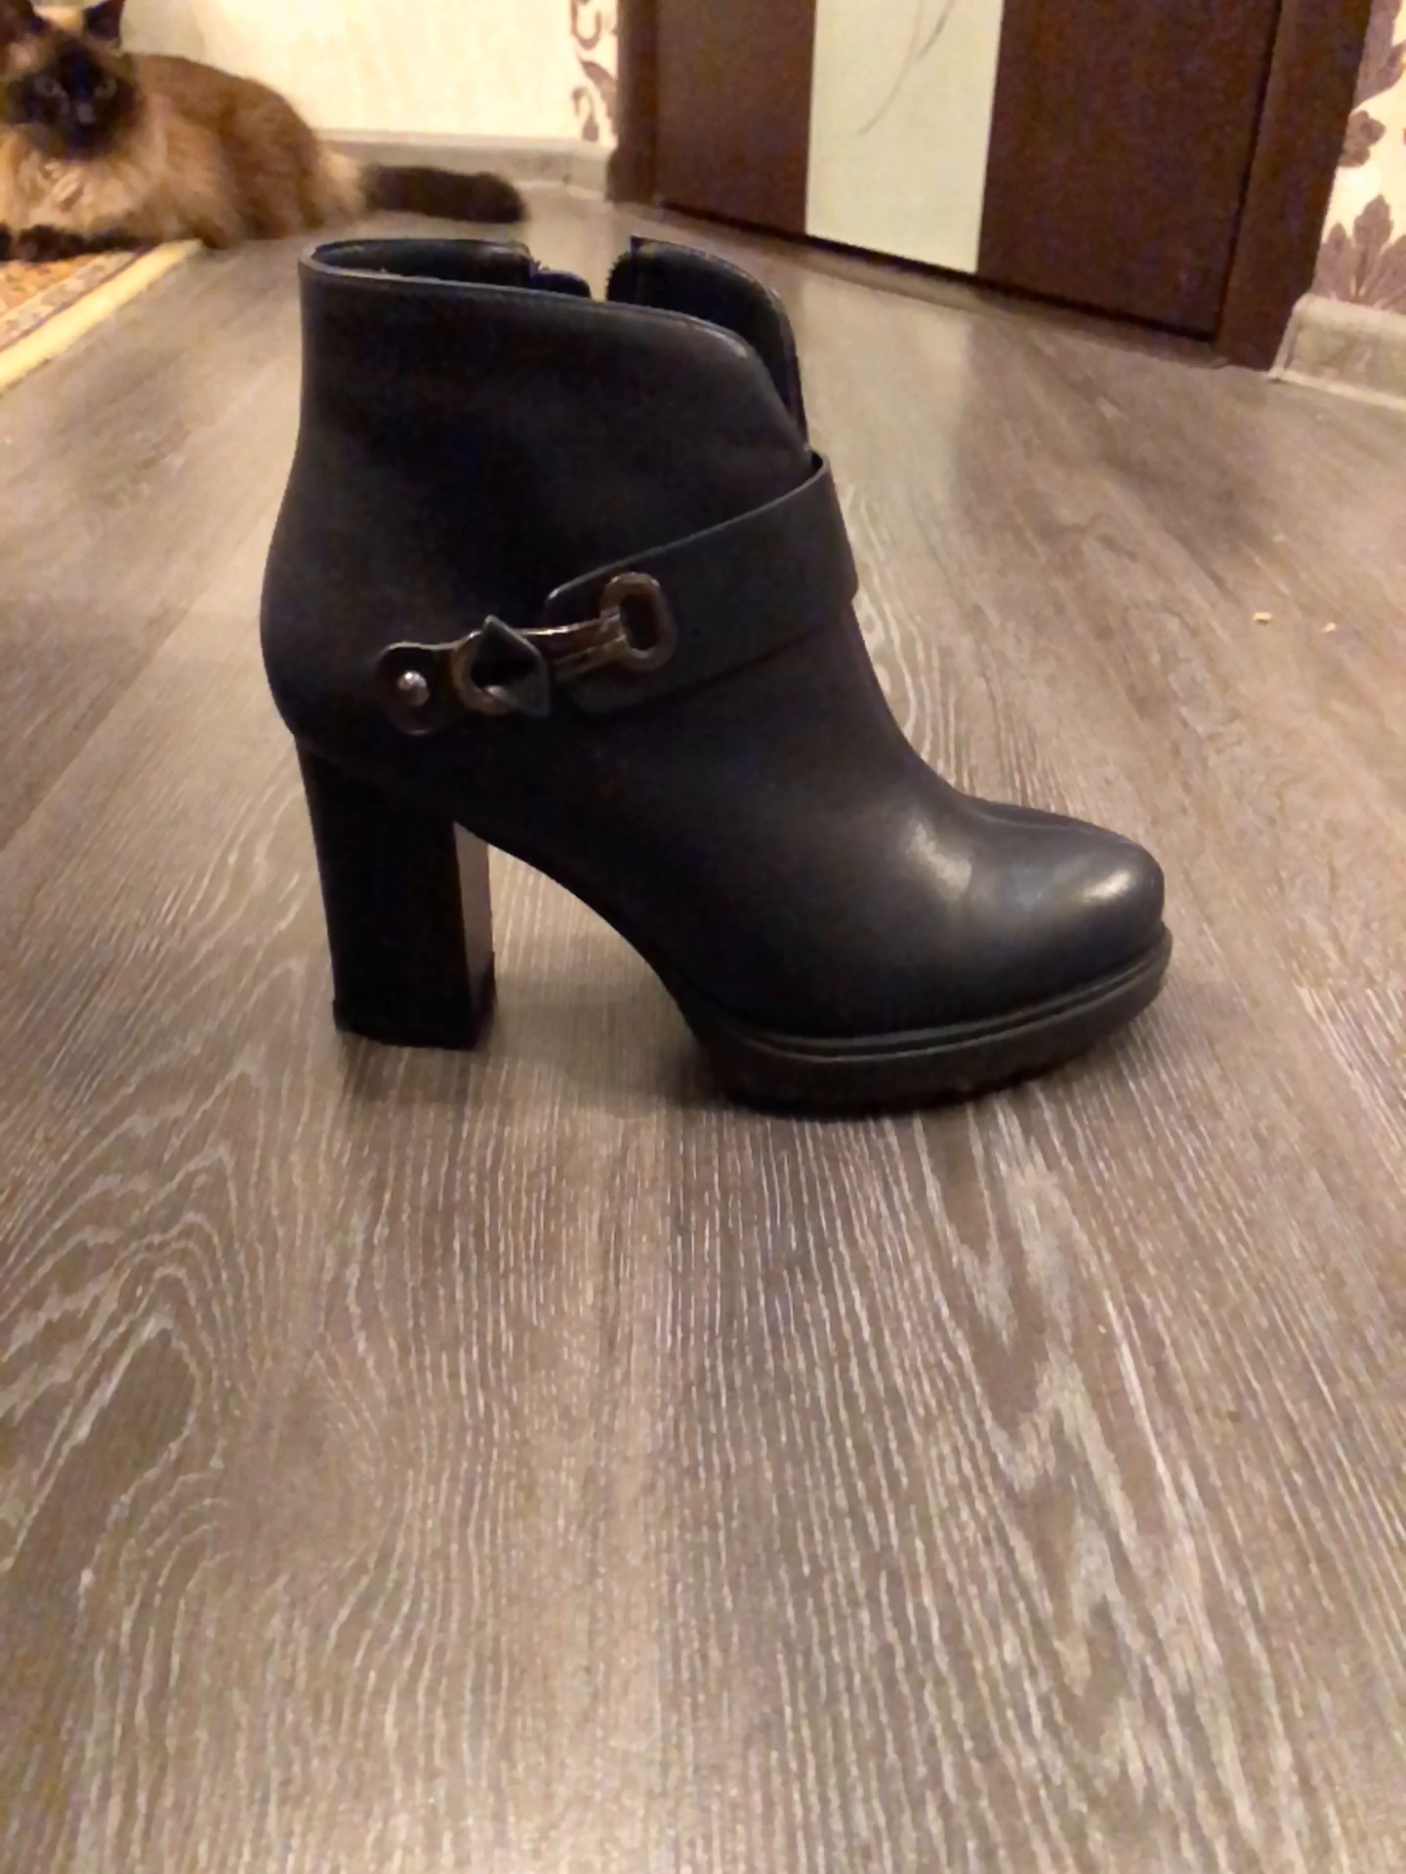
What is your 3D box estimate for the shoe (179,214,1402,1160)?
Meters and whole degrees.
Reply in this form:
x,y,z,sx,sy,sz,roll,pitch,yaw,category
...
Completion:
x,y,z,sx,sy,sz,roll,pitch,yaw,category
0.016,-0.062,0.368,0.220,0.179,0.101,6,32,7,shoe
